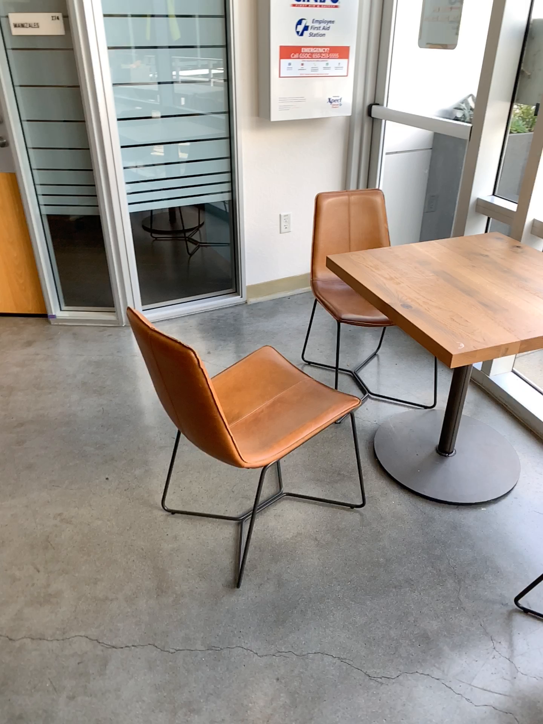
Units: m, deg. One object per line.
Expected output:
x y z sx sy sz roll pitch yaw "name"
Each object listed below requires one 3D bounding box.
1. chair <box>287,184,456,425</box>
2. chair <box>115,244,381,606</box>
0.384 -0.276 2.436 0.490 0.865 0.553 -8 28 -13 "chair"
-0.048 0.179 1.749 0.541 0.864 0.492 -27 40 -31 "chair"
